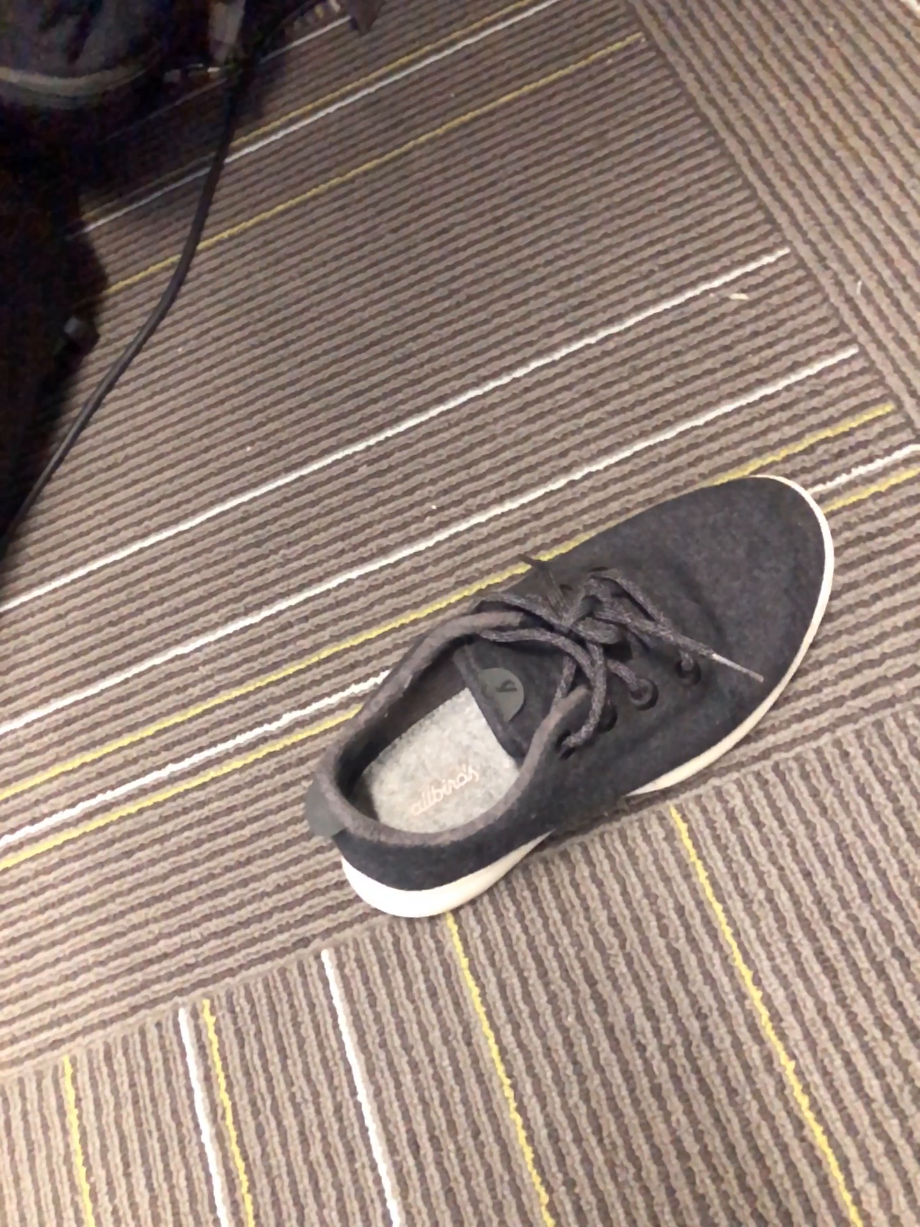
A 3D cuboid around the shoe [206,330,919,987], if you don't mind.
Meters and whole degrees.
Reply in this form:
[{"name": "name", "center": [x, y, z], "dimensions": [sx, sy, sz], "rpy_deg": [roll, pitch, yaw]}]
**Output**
[{"name": "shoe", "center": [0.047, 0.019, 0.417], "dimensions": [0.270, 0.070, 0.120], "rpy_deg": [-35, 63, -1]}]
